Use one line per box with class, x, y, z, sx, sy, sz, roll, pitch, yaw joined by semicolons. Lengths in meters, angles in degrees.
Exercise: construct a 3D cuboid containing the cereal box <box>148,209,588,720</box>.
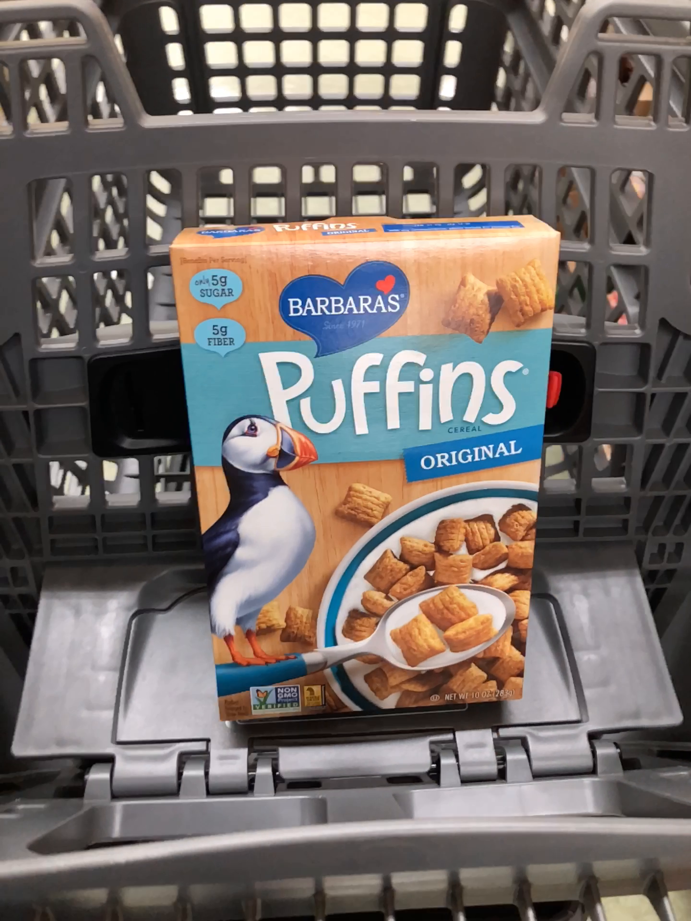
cereal box;0.013;0.009;0.402;0.190;0.260;0.050;-3;23;-3
